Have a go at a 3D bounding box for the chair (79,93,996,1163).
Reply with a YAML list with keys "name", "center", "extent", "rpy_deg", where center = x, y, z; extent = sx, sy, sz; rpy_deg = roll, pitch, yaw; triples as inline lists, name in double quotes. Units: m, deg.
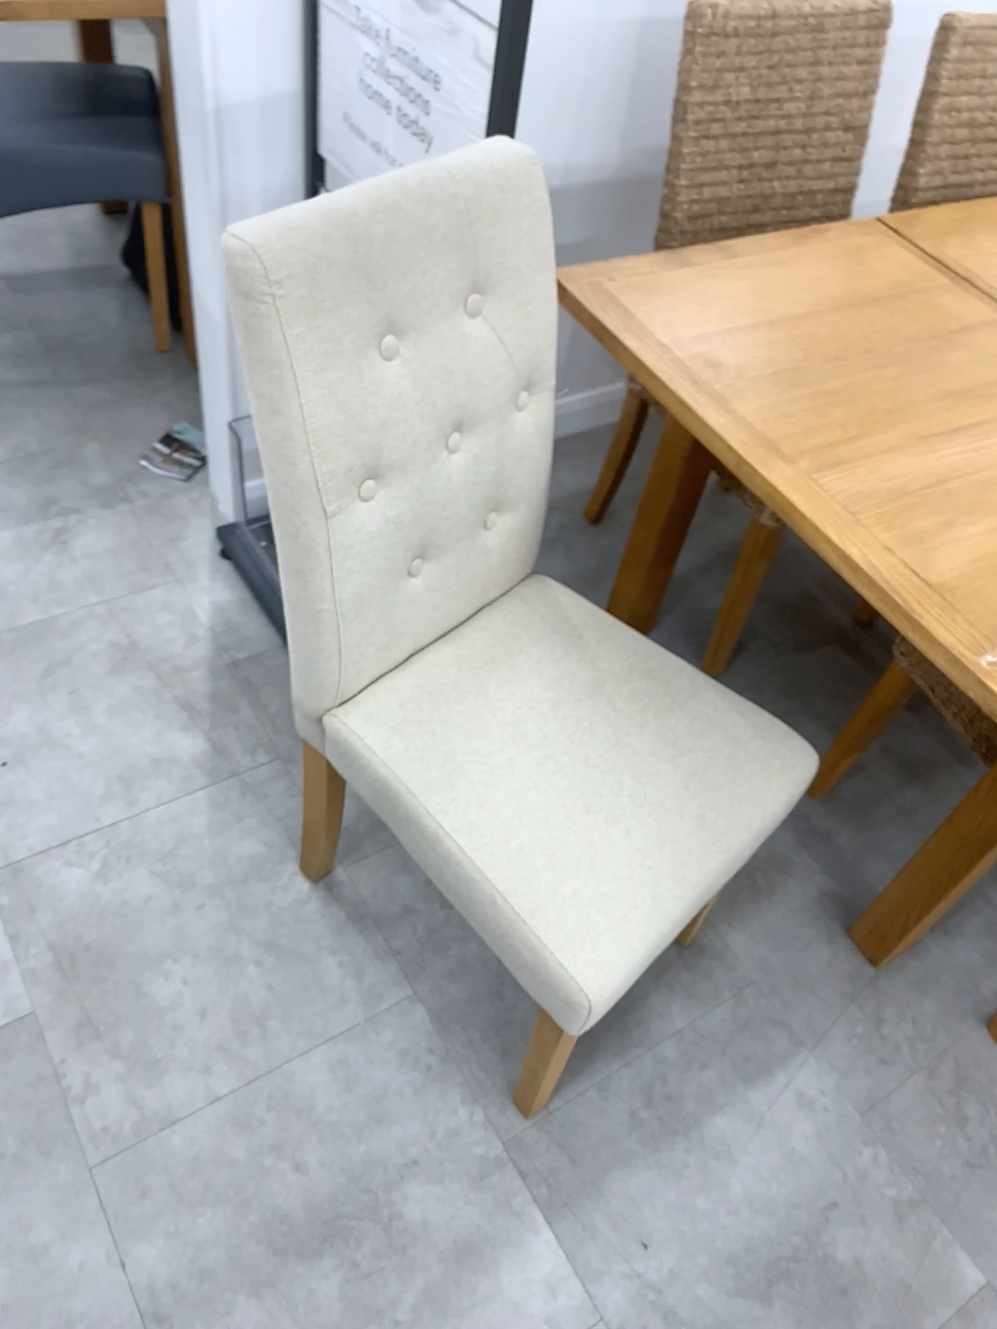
- name: "chair"
  center: [0.002, 0.004, 1.130]
  extent: [0.612, 0.897, 0.481]
  rpy_deg: [40, 54, 23]
